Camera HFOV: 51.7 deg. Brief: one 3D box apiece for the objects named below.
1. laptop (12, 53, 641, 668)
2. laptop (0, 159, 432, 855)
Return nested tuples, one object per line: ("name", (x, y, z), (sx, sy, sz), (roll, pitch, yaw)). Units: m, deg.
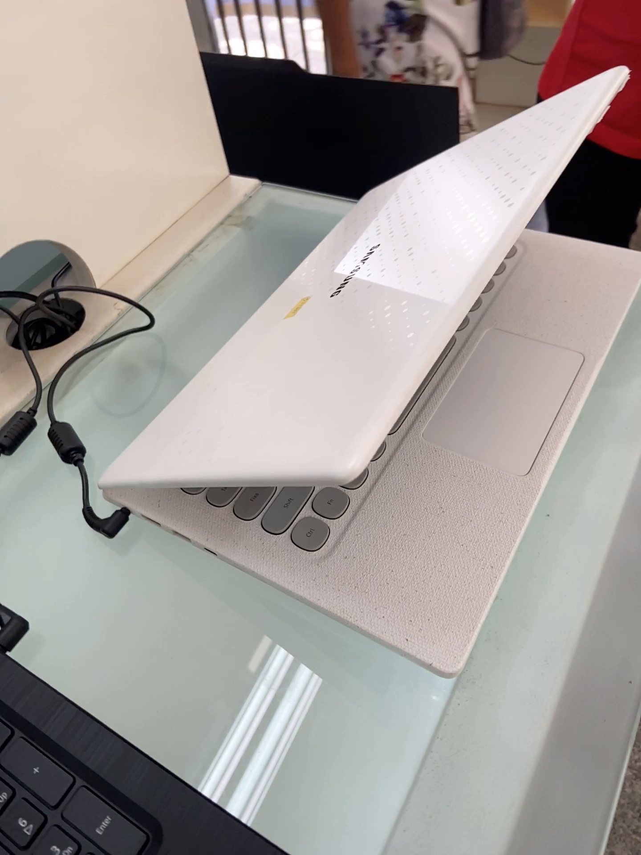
("laptop", (0.041, -0.075, 0.363), (0.206, 0.108, 0.313), (21, 56, 25))
("laptop", (-0.240, 0.179, 0.115), (0.374, 0.213, 0.402), (21, 56, 26))
